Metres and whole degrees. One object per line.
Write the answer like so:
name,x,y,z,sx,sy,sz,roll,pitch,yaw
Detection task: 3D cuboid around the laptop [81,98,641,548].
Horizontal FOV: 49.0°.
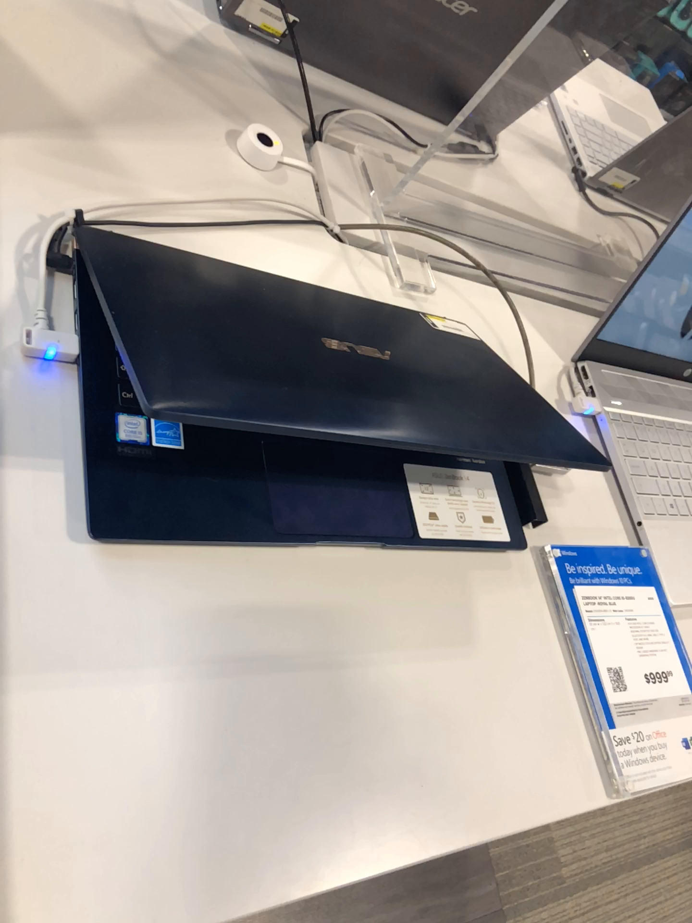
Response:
laptop,0.014,-0.061,0.466,0.310,0.095,0.203,6,59,-36
